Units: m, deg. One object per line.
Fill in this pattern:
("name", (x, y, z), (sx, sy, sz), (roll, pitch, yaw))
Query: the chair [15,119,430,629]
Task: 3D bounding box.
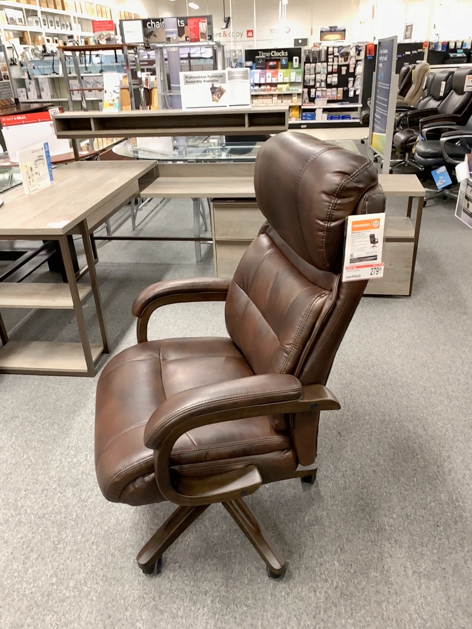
("chair", (-0.063, 0.099, 1.345), (0.700, 1.094, 0.714), (-9, 28, -13))
